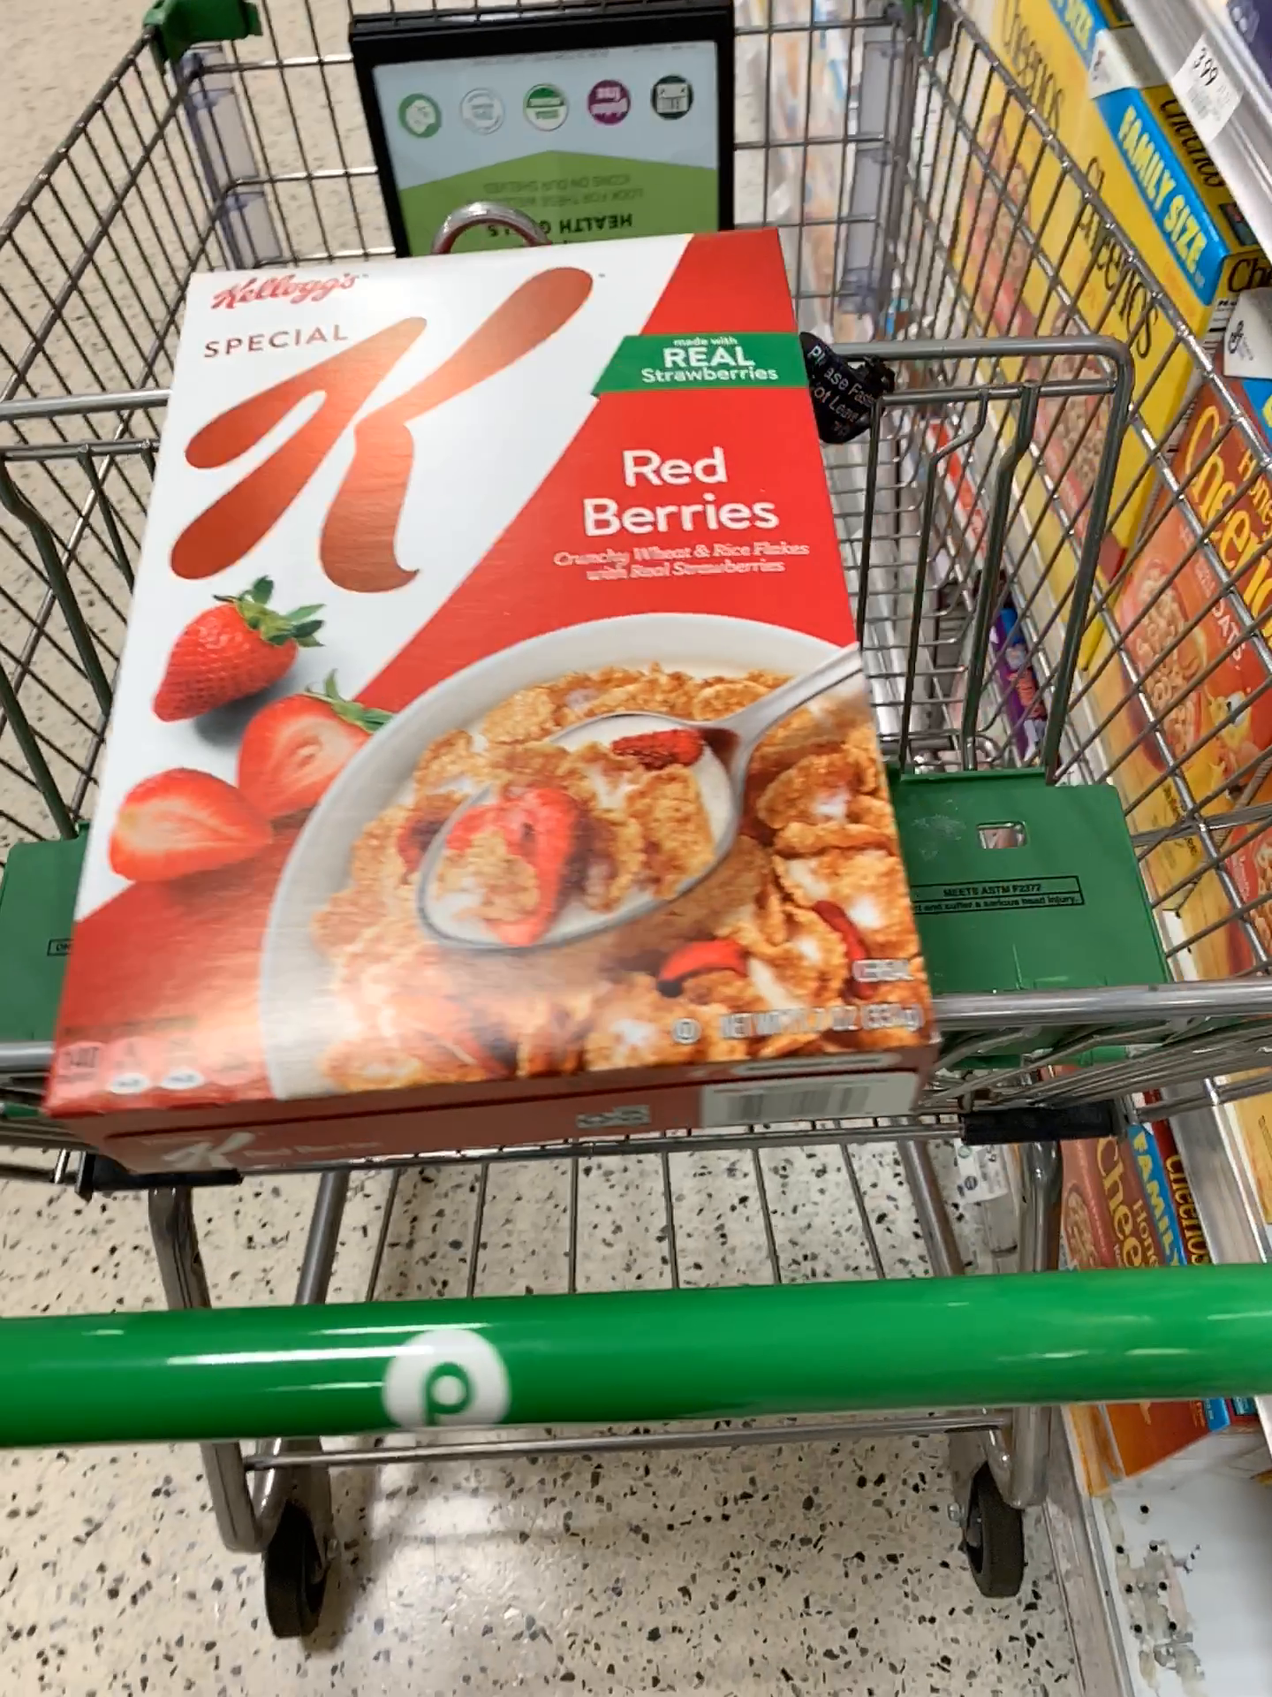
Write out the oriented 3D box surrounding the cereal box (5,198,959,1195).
[{"bbox_3d":[-0.041,-0.062,0.374,0.200,0.060,0.292,-5,59,0],"label":"cereal box"}]
